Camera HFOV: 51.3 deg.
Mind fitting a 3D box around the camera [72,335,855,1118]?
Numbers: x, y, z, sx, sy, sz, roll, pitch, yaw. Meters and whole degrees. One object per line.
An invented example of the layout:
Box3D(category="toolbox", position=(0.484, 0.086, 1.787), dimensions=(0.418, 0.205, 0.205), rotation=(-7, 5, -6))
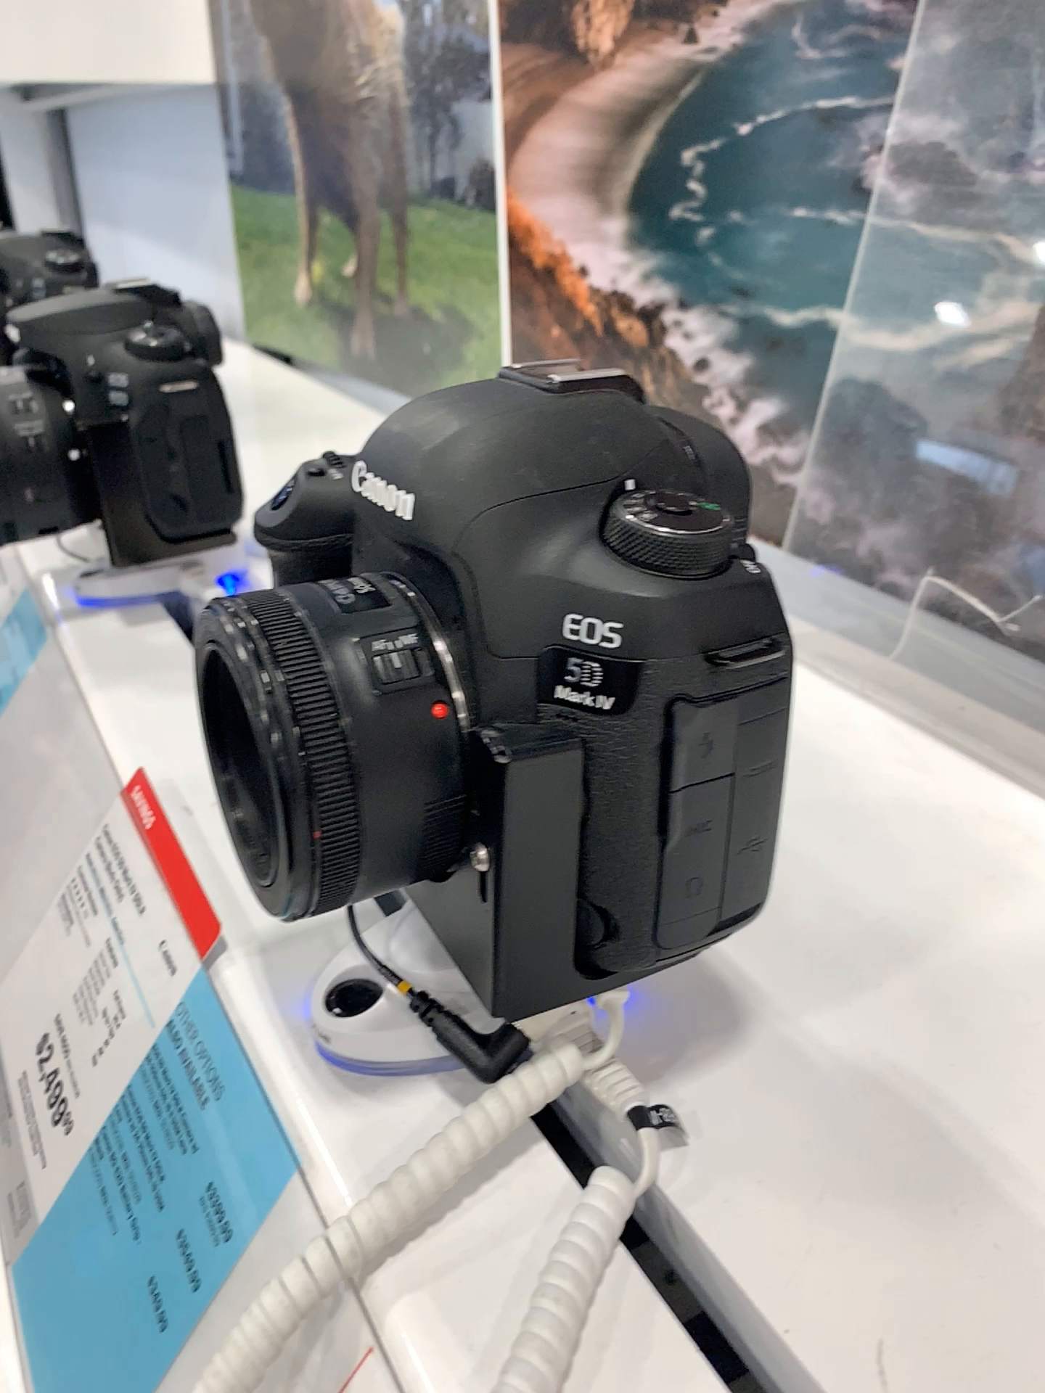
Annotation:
Box3D(category="camera", position=(-0.022, -0.013, 0.247), dimensions=(0.112, 0.106, 0.141), rotation=(-15, 29, -24))
